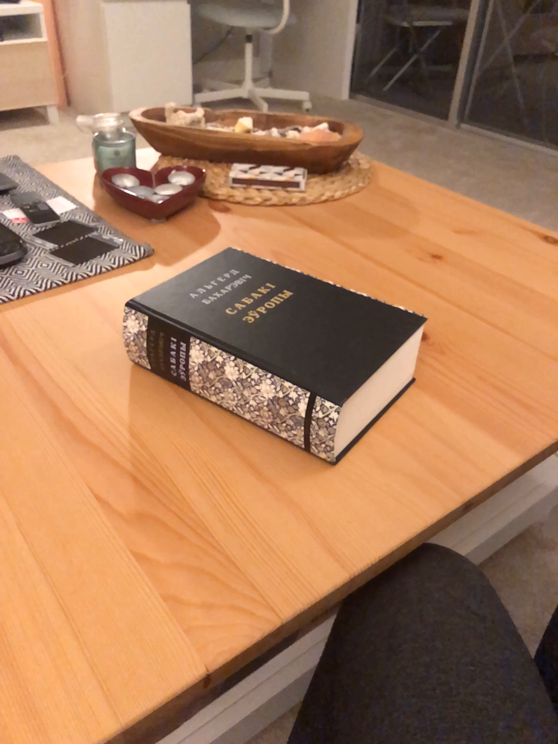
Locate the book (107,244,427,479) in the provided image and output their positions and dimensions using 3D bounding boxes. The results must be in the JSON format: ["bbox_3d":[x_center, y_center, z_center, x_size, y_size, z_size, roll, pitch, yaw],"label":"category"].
[{"bbox_3d":[-0.011,-0.025,0.554,0.229,0.061,0.158,25,43,26],"label":"book"}]
